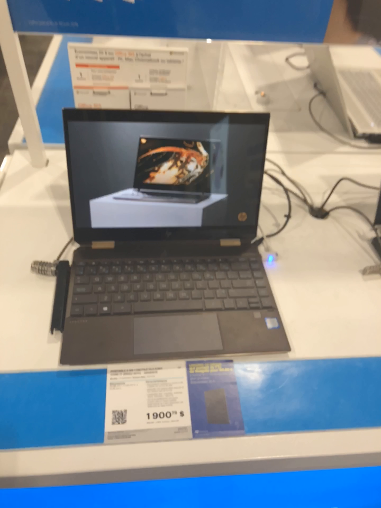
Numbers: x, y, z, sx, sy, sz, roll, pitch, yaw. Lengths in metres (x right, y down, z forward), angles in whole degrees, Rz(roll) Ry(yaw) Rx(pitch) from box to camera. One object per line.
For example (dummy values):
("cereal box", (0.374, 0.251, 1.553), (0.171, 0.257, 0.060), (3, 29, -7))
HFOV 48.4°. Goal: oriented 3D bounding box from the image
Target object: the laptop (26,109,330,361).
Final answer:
("laptop", (-0.027, -0.036, 0.583), (0.297, 0.197, 0.286), (-1, 44, -7))
